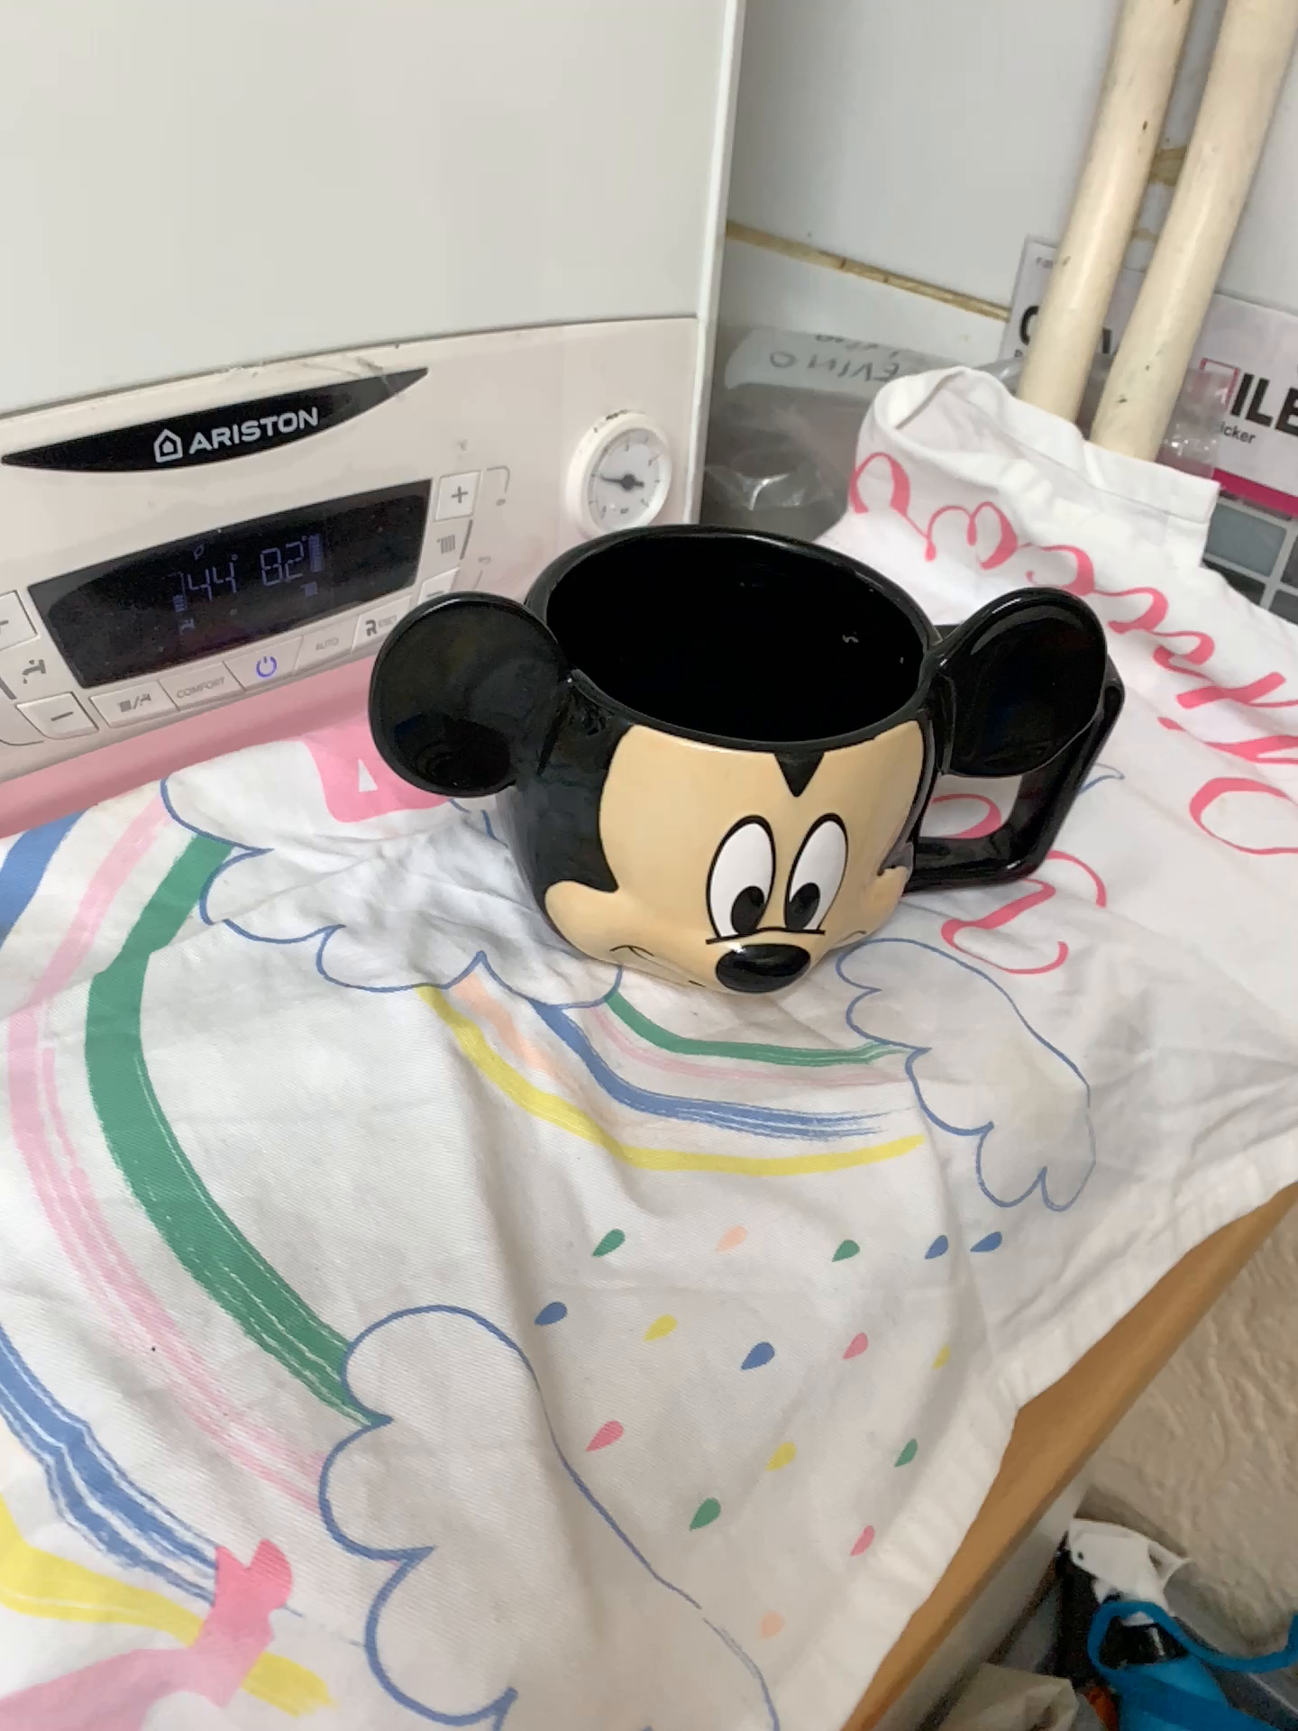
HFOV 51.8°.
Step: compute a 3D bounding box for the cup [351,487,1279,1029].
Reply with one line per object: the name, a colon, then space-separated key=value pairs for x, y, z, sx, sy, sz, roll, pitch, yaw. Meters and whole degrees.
cup: x=0.028 y=-0.034 z=0.327 sx=0.190 sy=0.079 sz=0.101 roll=-4 pitch=39 yaw=-13
